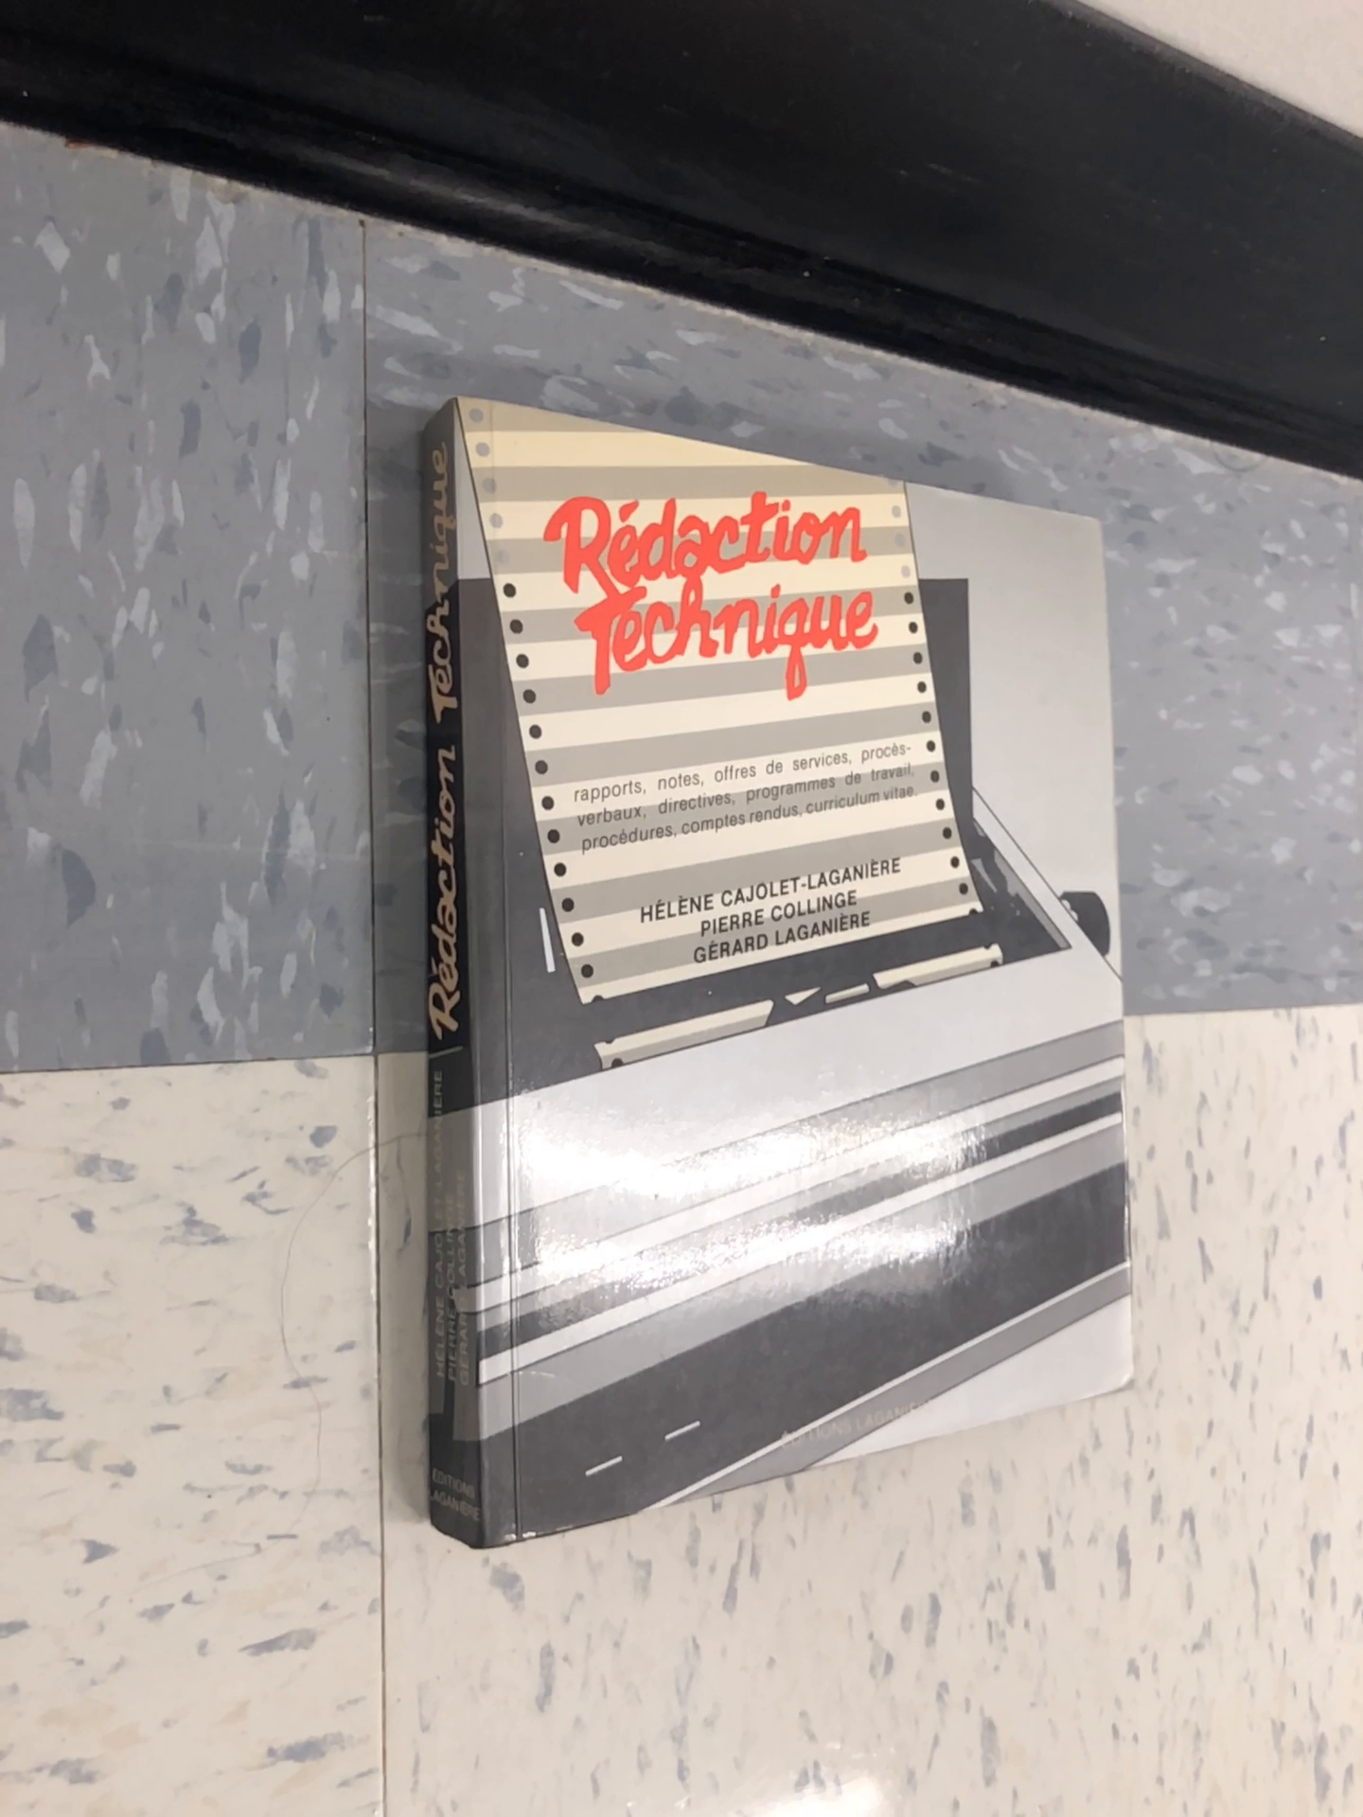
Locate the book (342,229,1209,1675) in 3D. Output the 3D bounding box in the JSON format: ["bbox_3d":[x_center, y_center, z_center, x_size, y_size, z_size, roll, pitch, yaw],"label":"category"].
[{"bbox_3d":[0.026,0.005,0.294,0.171,0.040,0.220,0,87,-33],"label":"book"}]
